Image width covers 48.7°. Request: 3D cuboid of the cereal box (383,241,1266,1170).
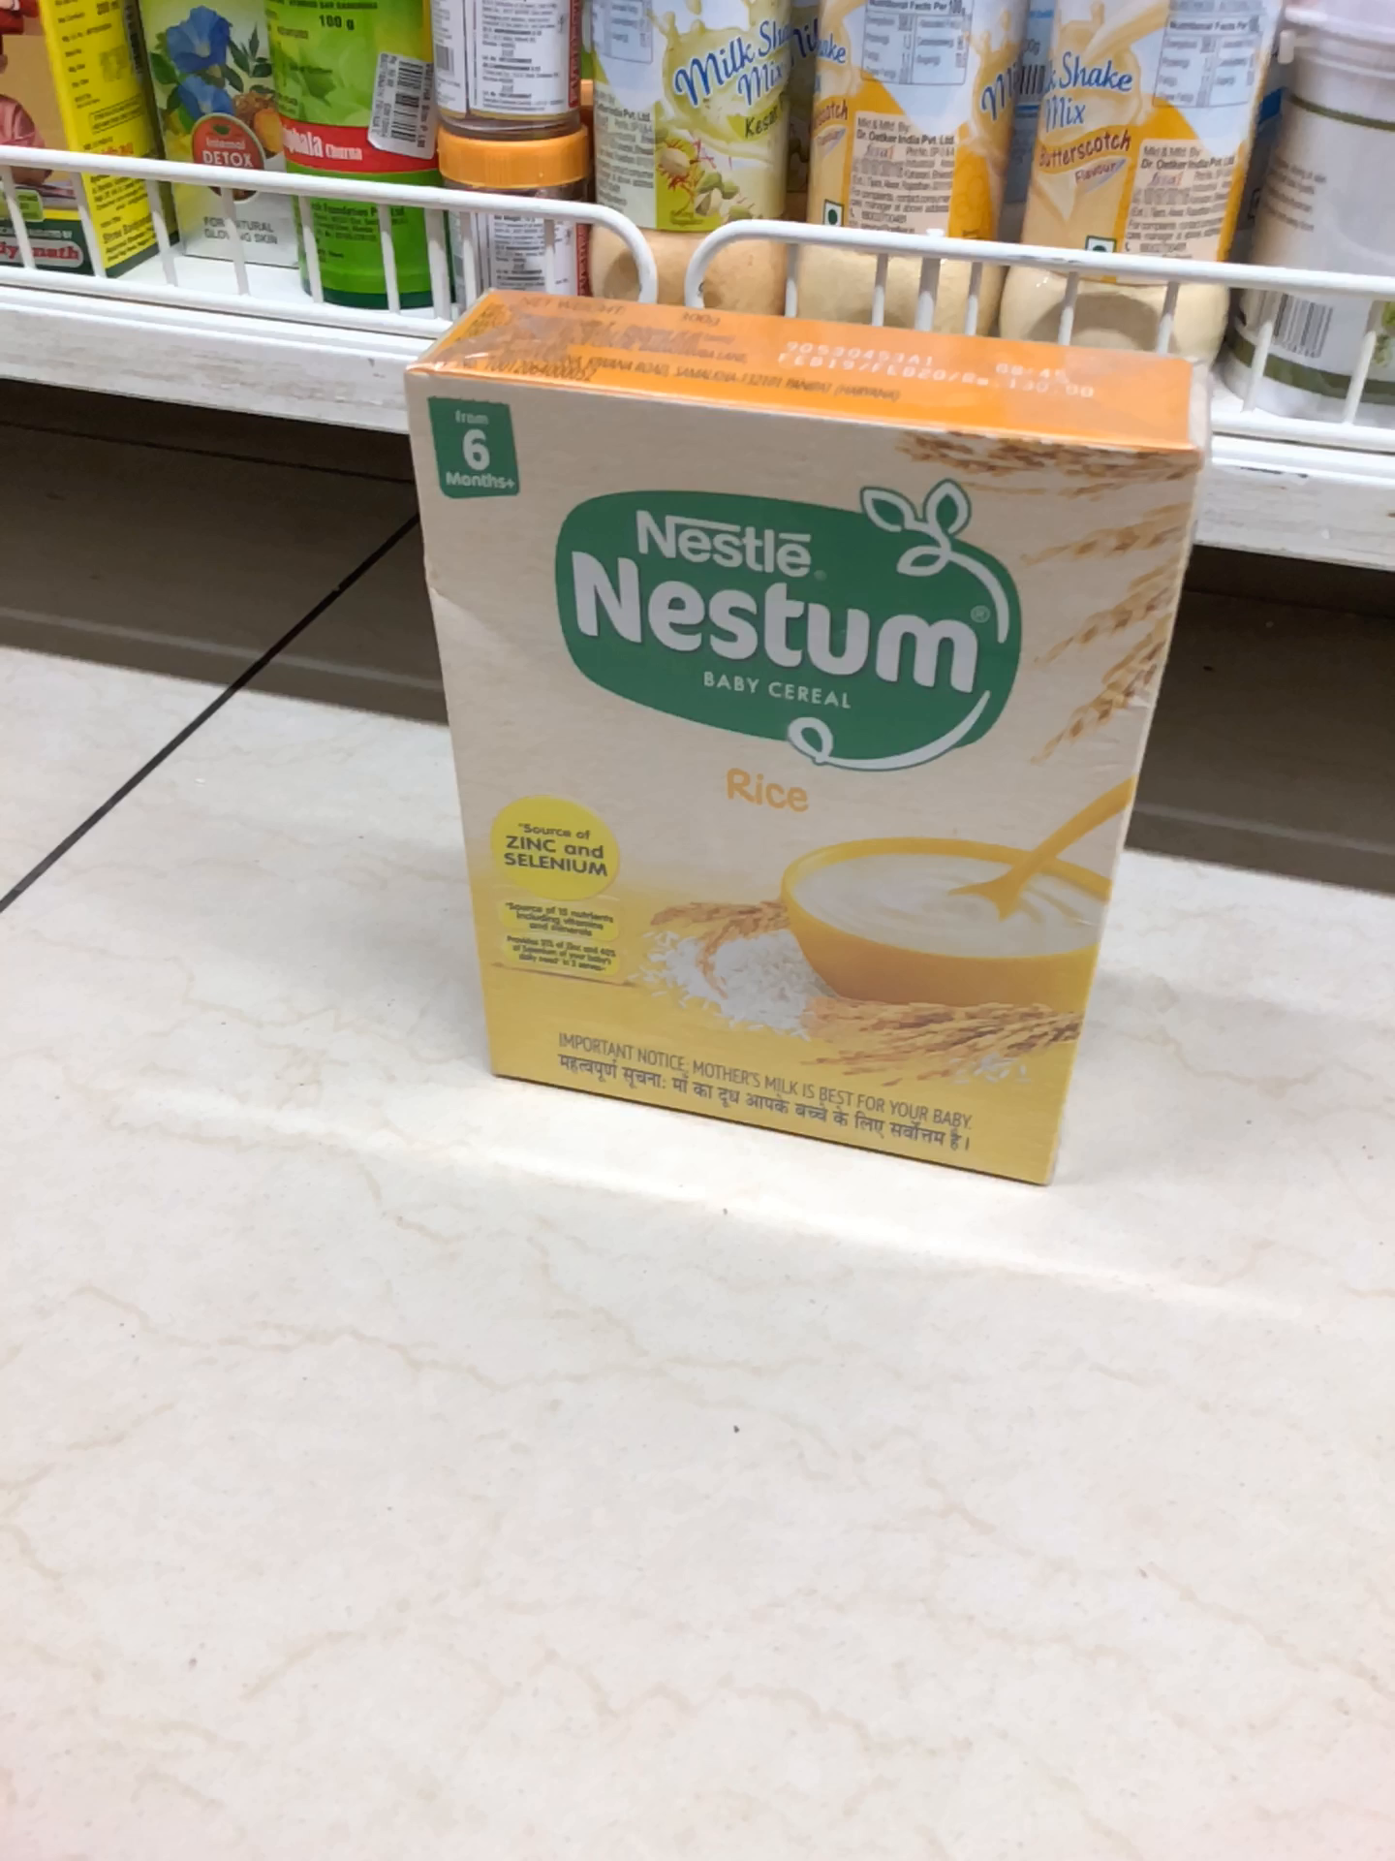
[{"bbox_3d":[0.024,-0.044,0.352,0.160,0.189,0.050,10,40,11],"label":"cereal box"}]
